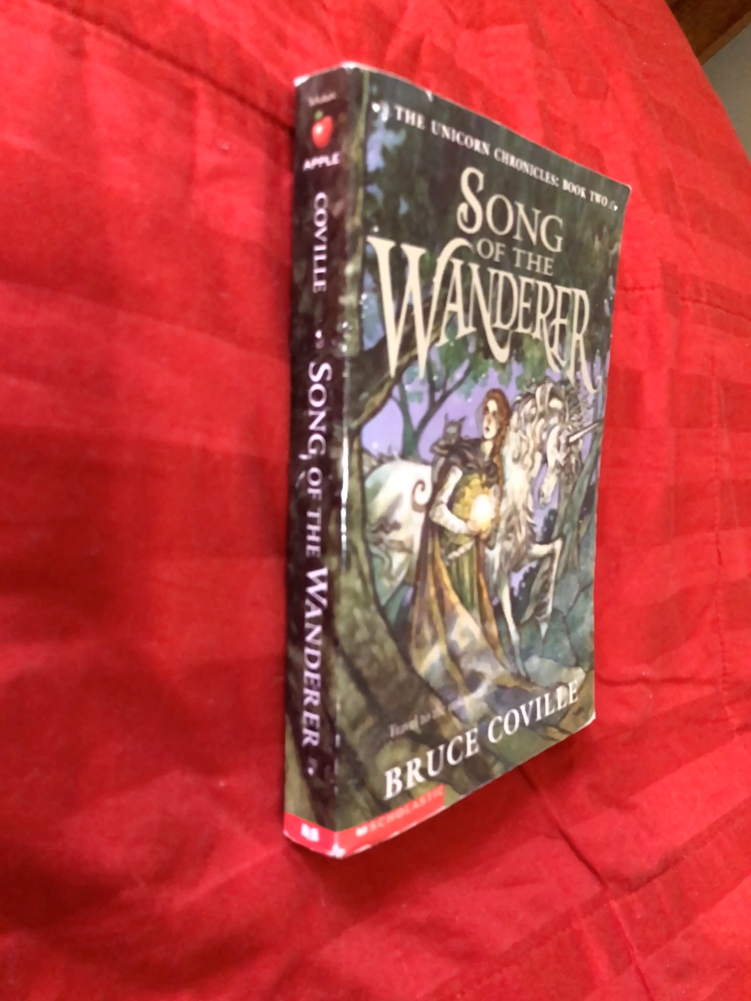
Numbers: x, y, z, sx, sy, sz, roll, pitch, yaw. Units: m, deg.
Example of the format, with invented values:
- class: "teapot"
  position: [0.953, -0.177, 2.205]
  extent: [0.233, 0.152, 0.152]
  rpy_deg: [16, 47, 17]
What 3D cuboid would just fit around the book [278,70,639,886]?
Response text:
- class: "book"
  position: [0.031, -0.007, 0.249]
  extent: [0.131, 0.030, 0.190]
  rpy_deg: [-6, 100, -47]
